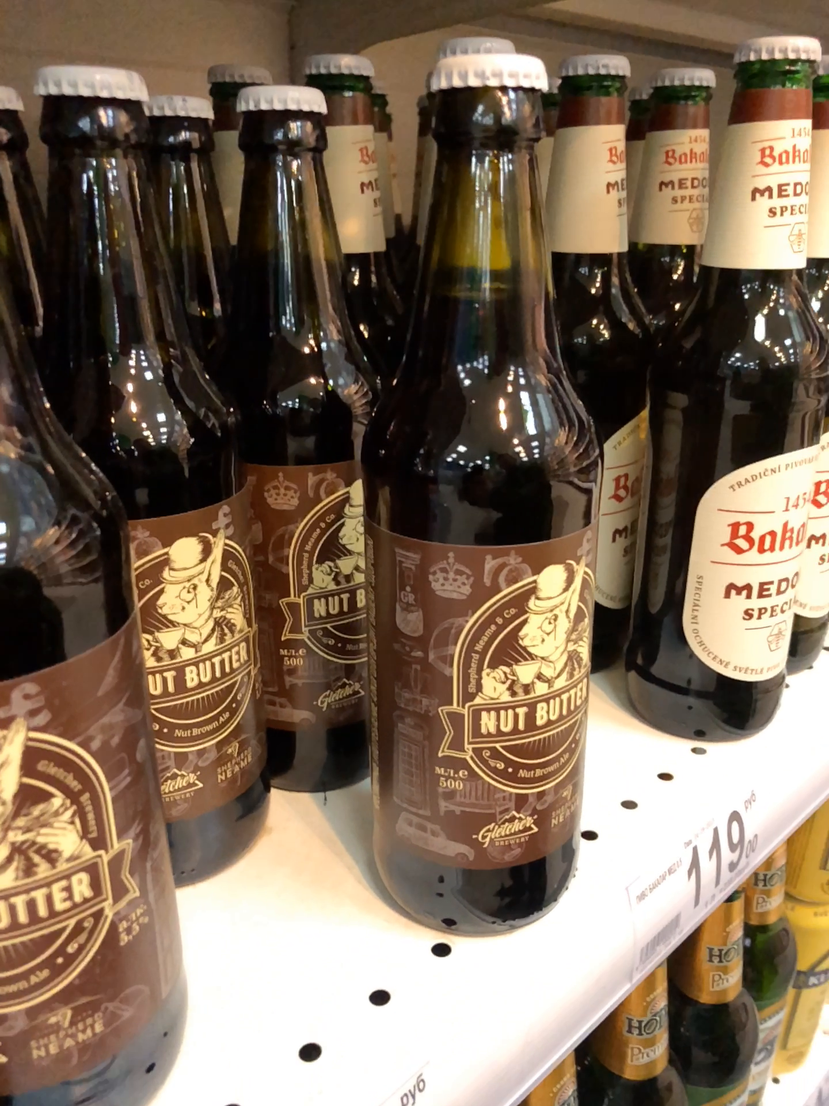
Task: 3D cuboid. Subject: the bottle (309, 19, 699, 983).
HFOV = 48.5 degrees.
[{"bbox_3d":[0.021,-0.007,0.261,0.070,0.240,0.060,-16,26,-35],"label":"bottle"}]
